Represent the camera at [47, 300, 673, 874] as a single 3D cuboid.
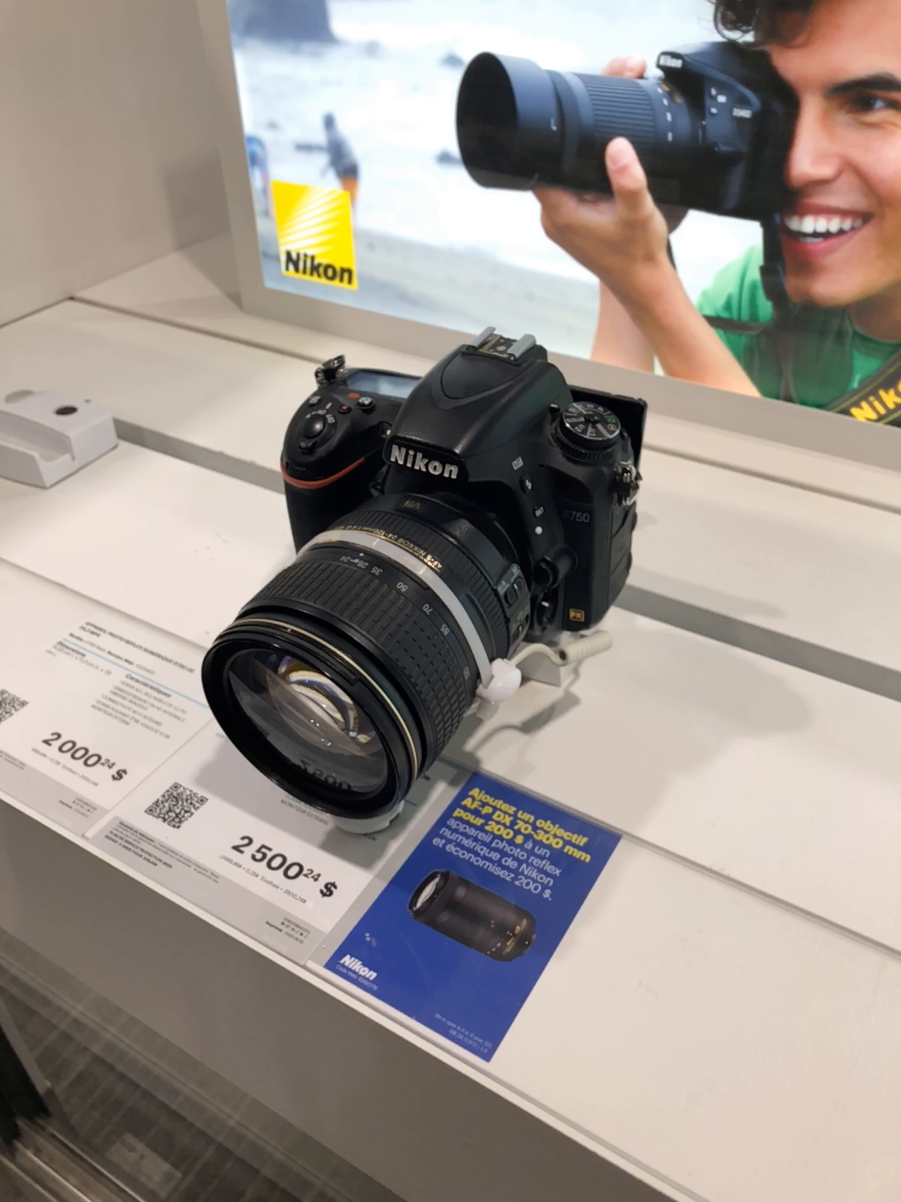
[{"bbox_3d":[-0.019,-0.023,0.374,0.138,0.099,0.184,18,41,23],"label":"camera"}]
